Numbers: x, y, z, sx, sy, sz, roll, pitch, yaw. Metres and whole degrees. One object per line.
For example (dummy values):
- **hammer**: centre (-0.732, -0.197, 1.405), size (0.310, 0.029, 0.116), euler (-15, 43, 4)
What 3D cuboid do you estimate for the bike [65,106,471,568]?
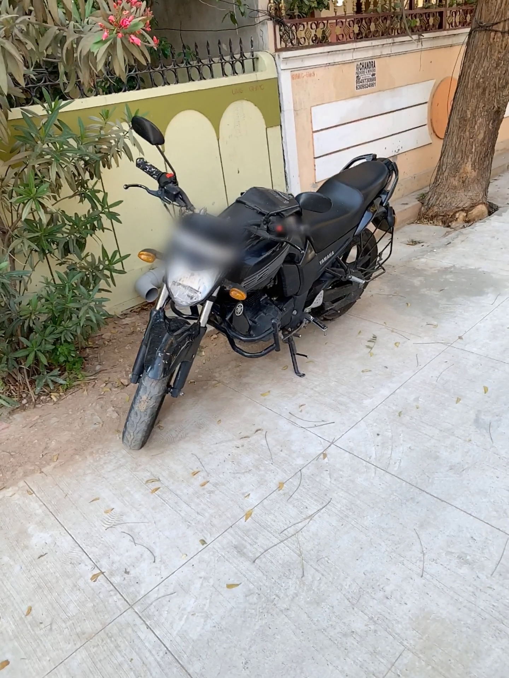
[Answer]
- **bike**: centre (0.206, -0.213, 2.279), size (0.749, 1.075, 1.686), euler (18, 41, 40)
